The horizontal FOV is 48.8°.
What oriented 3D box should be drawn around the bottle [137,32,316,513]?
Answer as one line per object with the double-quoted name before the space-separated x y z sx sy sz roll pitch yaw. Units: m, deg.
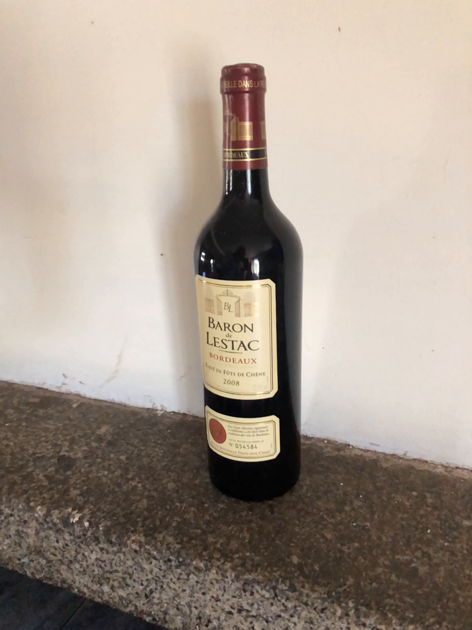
"bottle" 0.003 -0.019 0.342 0.080 0.279 0.070 6 20 25
